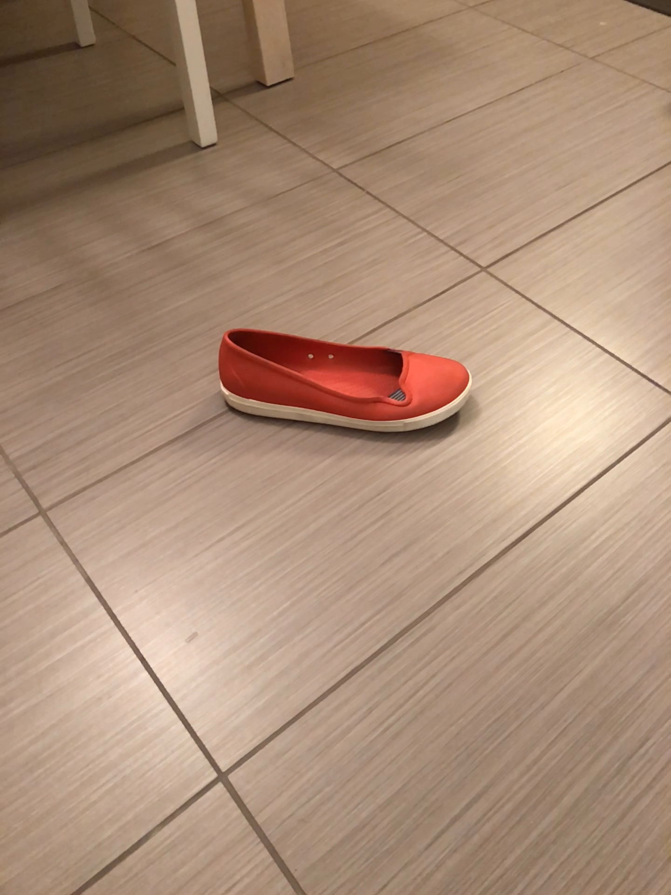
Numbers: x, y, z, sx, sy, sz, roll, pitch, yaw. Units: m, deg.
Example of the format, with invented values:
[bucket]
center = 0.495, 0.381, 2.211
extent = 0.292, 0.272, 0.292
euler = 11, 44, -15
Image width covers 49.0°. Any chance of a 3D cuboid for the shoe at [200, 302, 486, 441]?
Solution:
[shoe]
center = 0.011, -0.079, 0.752
extent = 0.270, 0.070, 0.101
euler = 5, 50, 4
